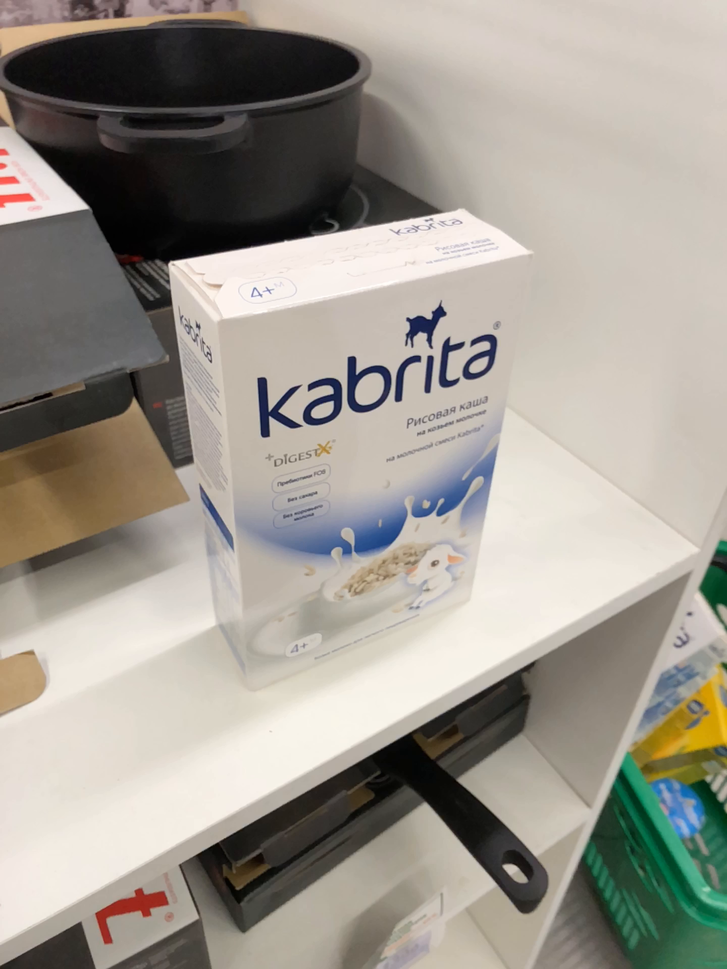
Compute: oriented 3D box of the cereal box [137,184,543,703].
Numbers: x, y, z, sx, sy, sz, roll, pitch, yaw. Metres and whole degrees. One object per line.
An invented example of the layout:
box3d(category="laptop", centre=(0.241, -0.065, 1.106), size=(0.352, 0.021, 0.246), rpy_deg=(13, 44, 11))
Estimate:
box3d(category="cereal box", centre=(-0.011, -0.012, 0.369), size=(0.140, 0.209, 0.060), rpy_deg=(-18, 45, -23))
